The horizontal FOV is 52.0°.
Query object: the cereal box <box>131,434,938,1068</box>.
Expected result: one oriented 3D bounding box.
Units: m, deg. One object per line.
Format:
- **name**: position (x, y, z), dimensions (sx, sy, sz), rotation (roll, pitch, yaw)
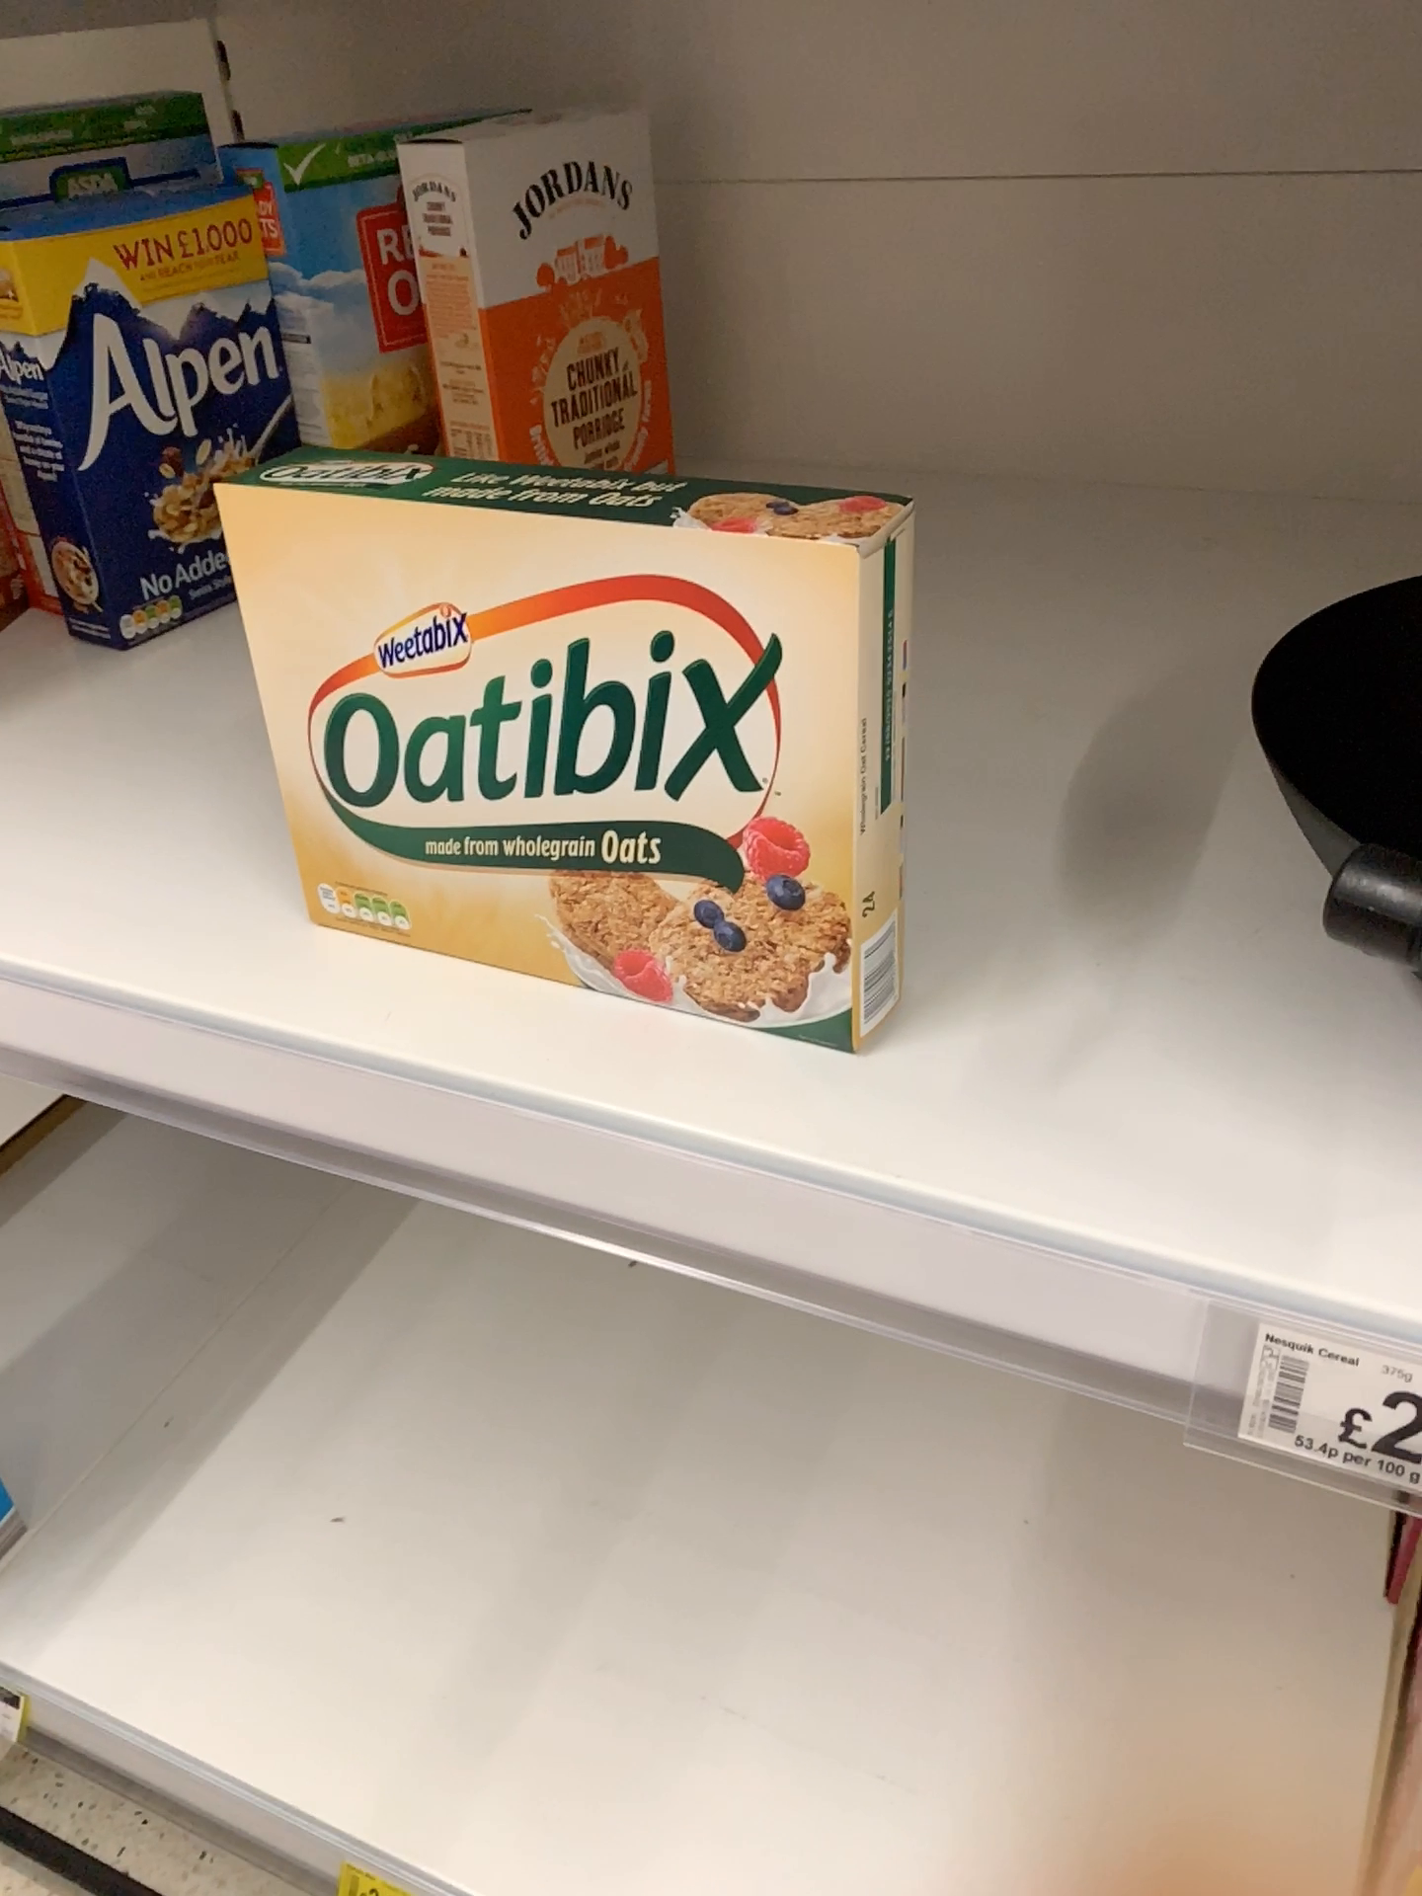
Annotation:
- **cereal box**: position (-0.060, -0.078, 0.530), dimensions (0.270, 0.178, 0.071), rotation (12, 37, 24)
